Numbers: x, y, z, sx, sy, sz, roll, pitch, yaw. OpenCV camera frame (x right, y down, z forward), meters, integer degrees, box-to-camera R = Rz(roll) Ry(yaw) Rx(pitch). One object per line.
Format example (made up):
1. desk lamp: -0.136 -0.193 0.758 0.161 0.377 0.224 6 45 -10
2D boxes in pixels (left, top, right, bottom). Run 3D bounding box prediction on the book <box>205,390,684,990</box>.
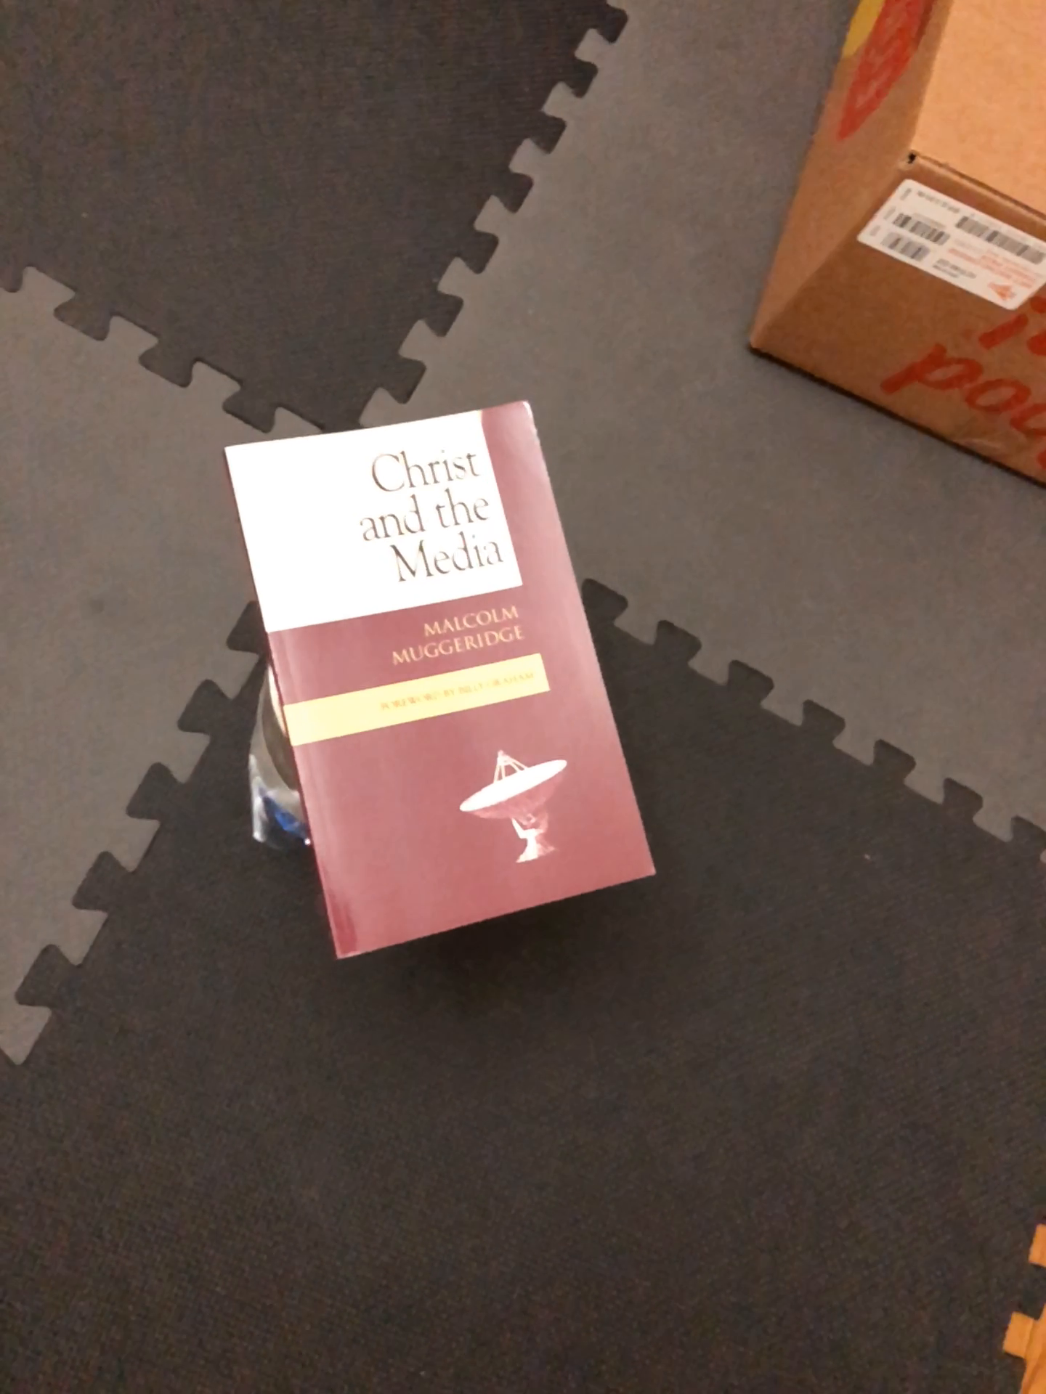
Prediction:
1. book: -0.031 -0.010 0.447 0.140 0.020 0.210 -11 81 -16
